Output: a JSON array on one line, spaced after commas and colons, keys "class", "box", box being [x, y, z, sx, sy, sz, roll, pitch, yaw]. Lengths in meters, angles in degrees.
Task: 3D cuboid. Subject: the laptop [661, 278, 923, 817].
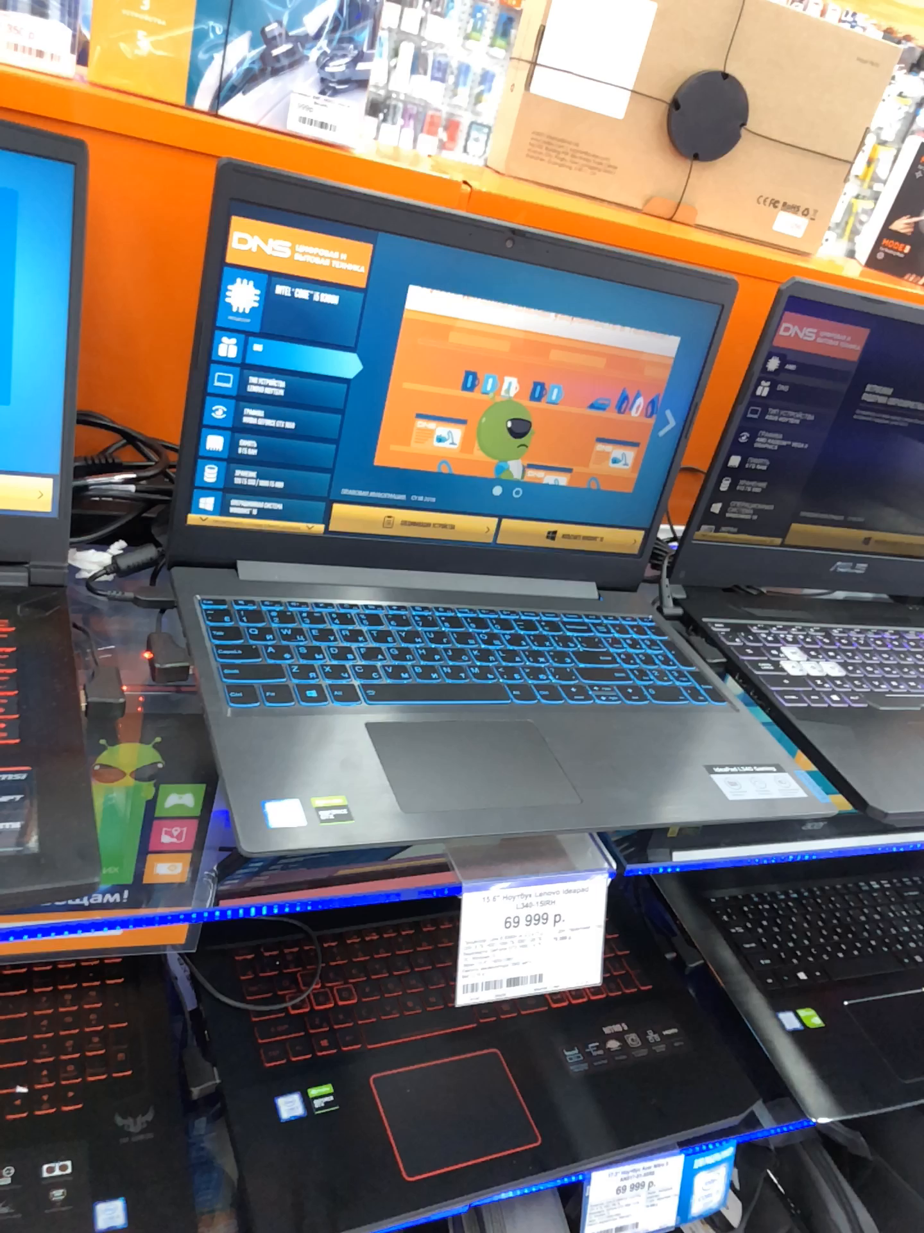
[{"class": "laptop", "box": [0.400, -0.051, 0.732, 0.368, 0.244, 0.274, 3, 31, -25]}]

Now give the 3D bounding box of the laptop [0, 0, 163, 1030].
[{"class": "laptop", "box": [-0.335, -0.078, 0.393, 0.356, 0.224, 0.320, 2, 32, -27]}]

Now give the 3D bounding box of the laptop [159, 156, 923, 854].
[{"class": "laptop", "box": [0.046, -0.064, 0.569, 0.357, 0.235, 0.279, 3, 31, -26]}]
